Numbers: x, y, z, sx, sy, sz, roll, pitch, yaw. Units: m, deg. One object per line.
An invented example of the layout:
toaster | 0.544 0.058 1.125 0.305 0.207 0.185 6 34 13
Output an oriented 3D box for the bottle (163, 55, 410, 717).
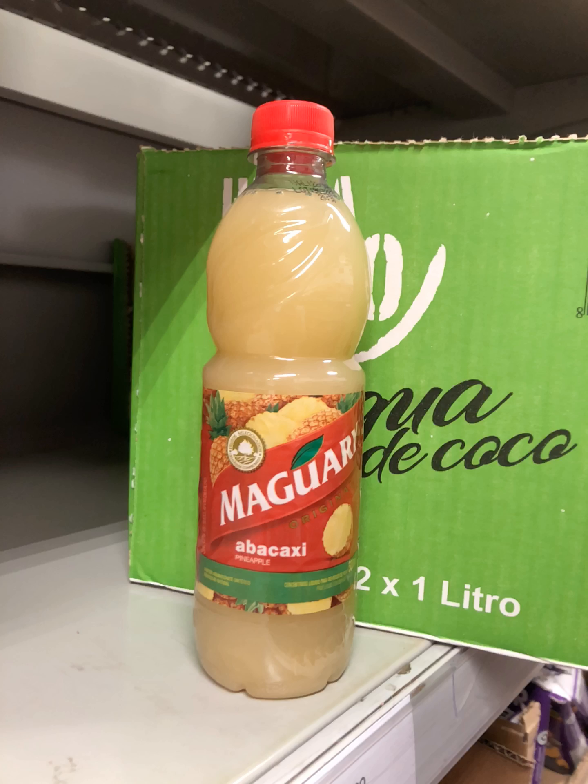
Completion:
bottle | -0.008 0.001 0.241 0.070 0.209 0.060 2 7 -9
